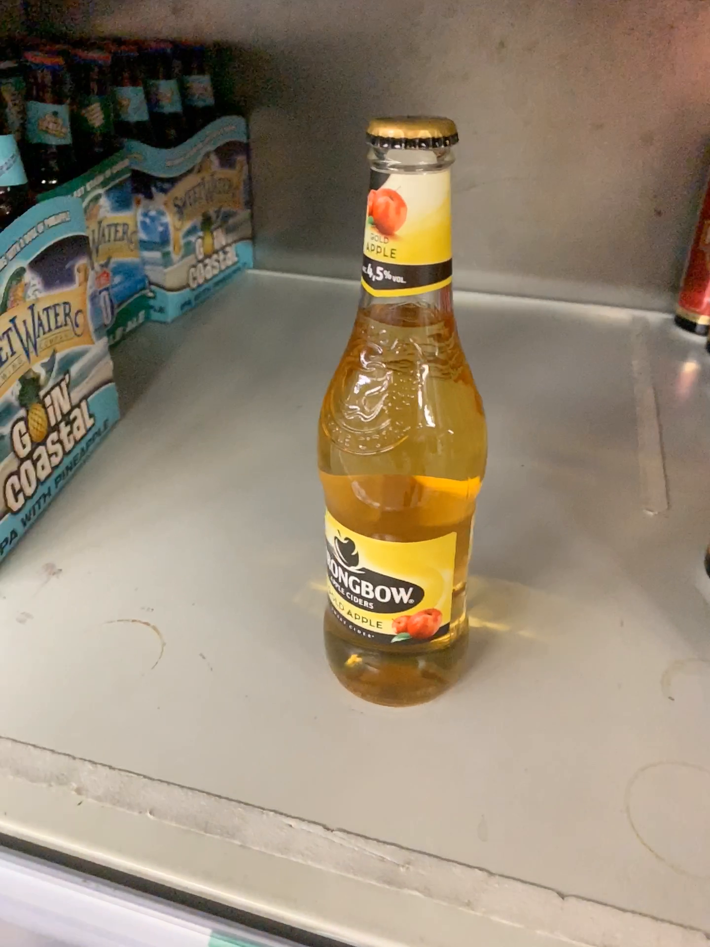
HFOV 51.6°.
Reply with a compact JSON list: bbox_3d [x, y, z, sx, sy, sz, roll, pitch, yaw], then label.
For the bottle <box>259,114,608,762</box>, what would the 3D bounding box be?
[{"bbox_3d":[0.022,-0.008,0.300,0.080,0.239,0.080,1,31,-1],"label":"bottle"}]
